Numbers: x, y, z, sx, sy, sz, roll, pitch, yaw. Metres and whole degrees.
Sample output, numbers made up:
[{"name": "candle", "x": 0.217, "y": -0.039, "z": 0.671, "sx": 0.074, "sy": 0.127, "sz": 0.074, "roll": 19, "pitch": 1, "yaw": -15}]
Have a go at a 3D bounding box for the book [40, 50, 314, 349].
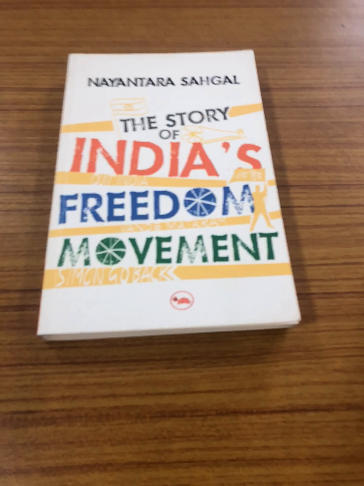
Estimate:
[{"name": "book", "x": -0.006, "y": -0.037, "z": 0.245, "sx": 0.130, "sy": 0.030, "sz": 0.190, "roll": -2, "pitch": 64, "yaw": -1}]
